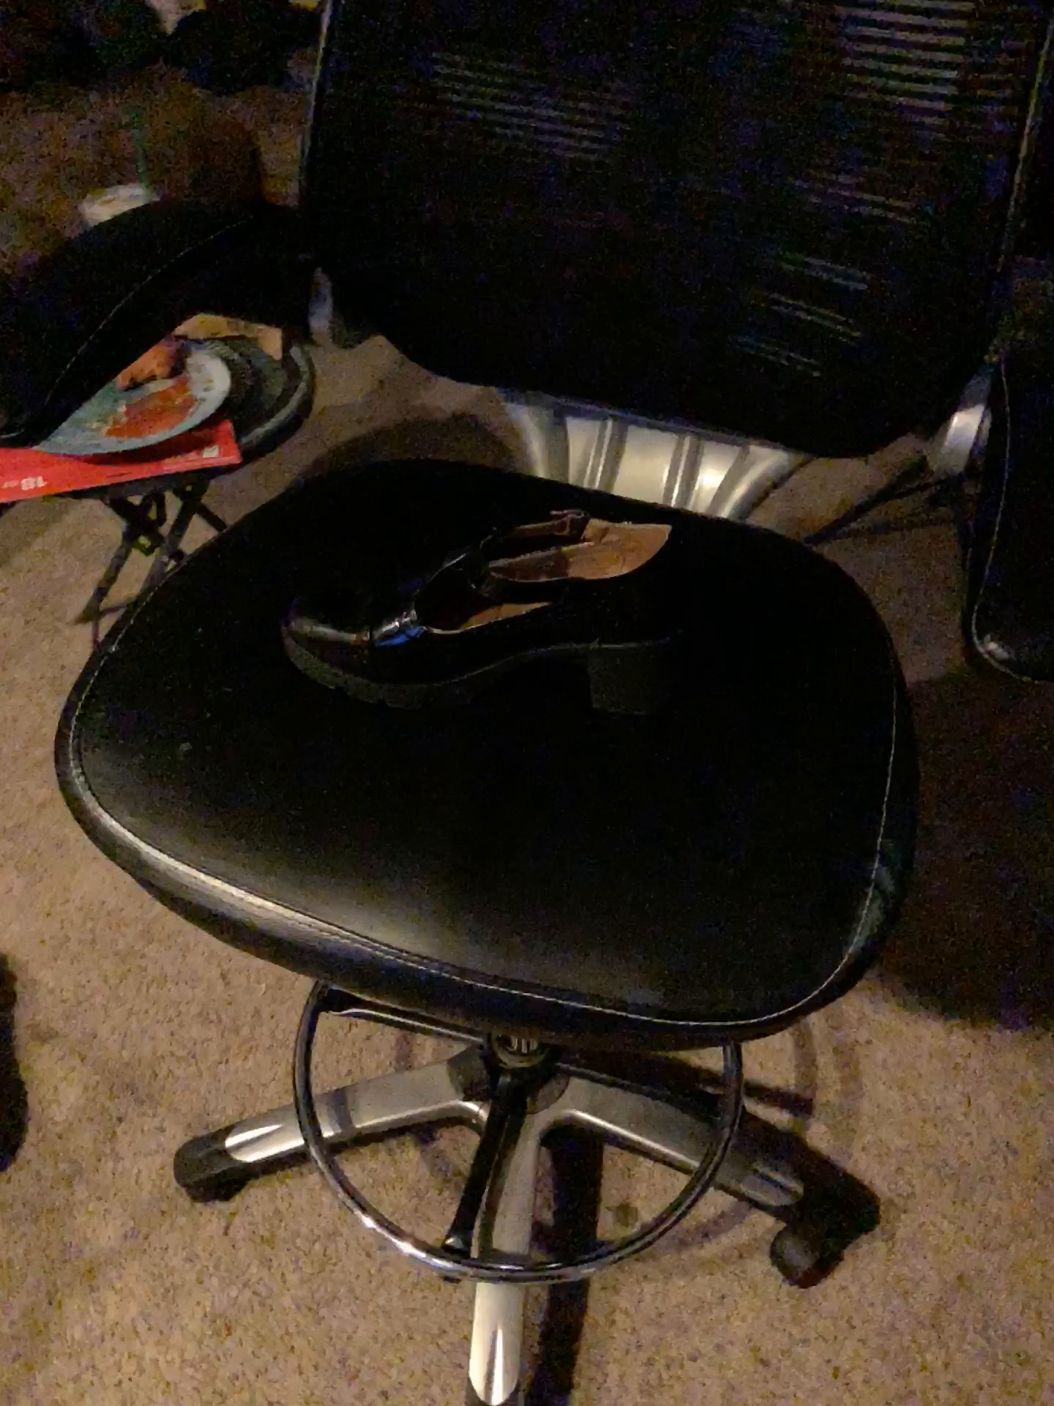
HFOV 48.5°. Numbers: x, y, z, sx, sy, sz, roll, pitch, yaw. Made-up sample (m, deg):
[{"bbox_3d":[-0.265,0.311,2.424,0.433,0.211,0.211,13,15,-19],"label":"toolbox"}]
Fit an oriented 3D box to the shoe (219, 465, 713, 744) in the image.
[{"bbox_3d":[-0.030,-0.062,0.707,0.270,0.100,0.110,5,42,4],"label":"shoe"}]
